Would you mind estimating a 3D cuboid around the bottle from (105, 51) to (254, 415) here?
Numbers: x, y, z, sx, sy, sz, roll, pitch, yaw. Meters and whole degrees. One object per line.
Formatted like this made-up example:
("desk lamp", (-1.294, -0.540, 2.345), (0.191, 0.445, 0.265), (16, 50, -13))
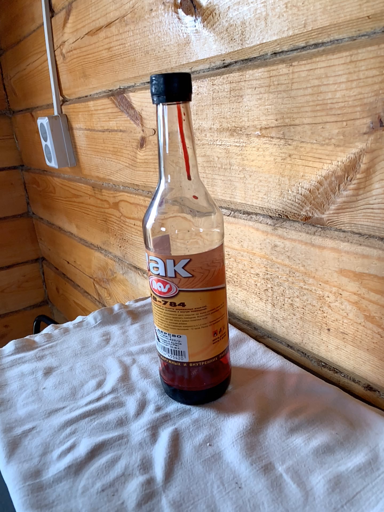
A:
("bottle", (-0.005, -0.015, 0.321), (0.080, 0.258, 0.070), (16, 25, 42))
